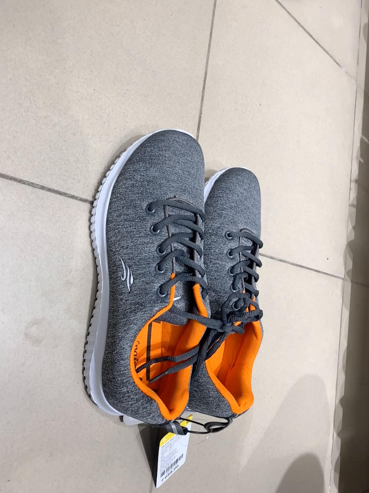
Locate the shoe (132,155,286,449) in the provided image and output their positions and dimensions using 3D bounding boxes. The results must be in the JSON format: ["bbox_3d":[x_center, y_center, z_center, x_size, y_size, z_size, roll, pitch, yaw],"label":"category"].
[{"bbox_3d":[0.034,0.060,0.450,0.101,0.090,0.300,19,76,-39],"label":"shoe"}]

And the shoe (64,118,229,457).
[{"bbox_3d":[-0.035,0.036,0.380,0.101,0.090,0.280,12,81,-40],"label":"shoe"}]
